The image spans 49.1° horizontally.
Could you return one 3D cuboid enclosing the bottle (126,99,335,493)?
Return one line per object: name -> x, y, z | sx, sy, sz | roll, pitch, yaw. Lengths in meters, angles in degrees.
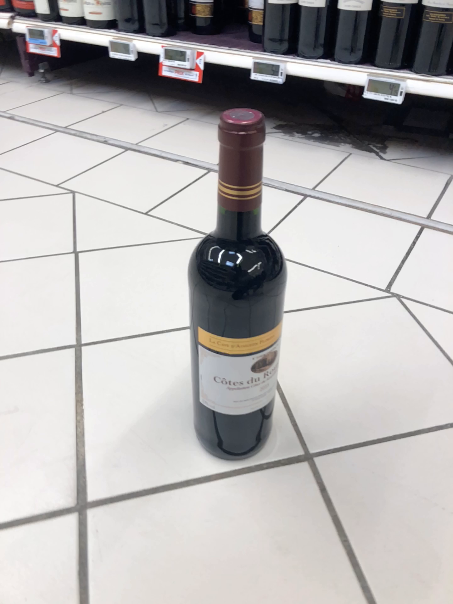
bottle -> -0.001, 0.010, 0.386 | 0.090, 0.288, 0.090 | 0, 38, 0
